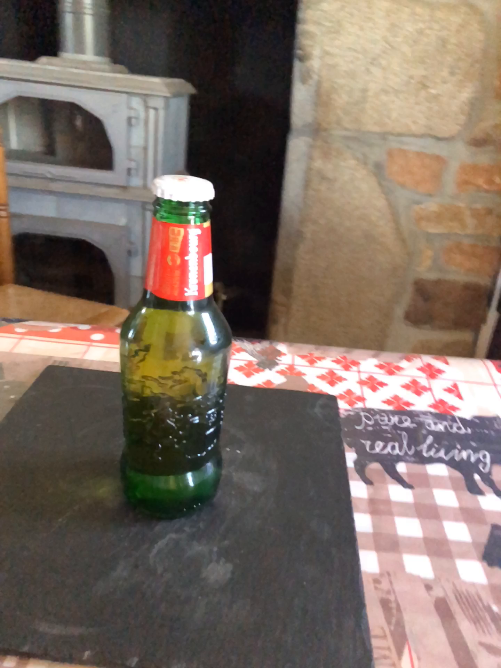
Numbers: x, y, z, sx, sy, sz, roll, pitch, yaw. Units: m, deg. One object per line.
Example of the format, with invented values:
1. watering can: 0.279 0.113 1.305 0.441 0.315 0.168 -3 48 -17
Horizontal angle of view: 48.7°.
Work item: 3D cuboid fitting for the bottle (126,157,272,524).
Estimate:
1. bottle: -0.034 0.006 0.290 0.060 0.179 0.060 5 24 -2
